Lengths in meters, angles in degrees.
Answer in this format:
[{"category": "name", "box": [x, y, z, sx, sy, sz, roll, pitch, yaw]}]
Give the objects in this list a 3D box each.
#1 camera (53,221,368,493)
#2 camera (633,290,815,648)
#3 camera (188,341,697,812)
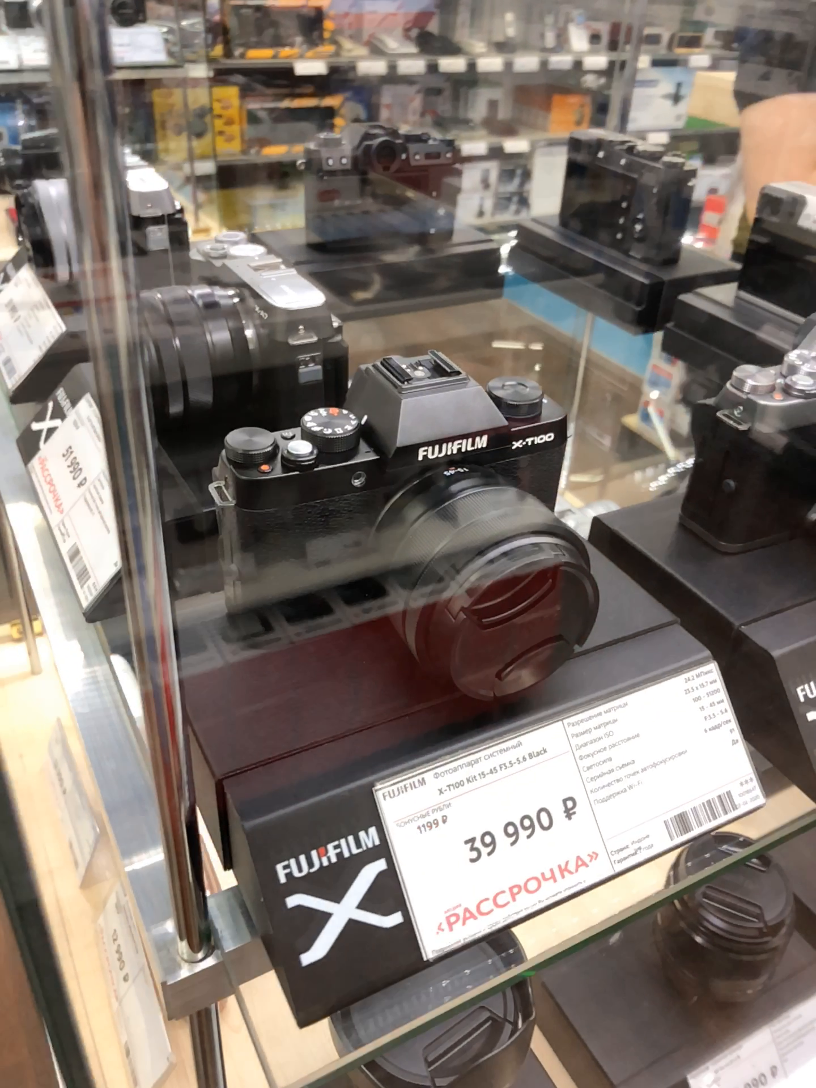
[{"category": "camera", "box": [-0.091, -0.092, 0.412, 0.100, 0.069, 0.120, -16, 38, -26]}, {"category": "camera", "box": [0.171, -0.036, 0.343, 0.120, 0.078, 0.099, -14, 37, -24]}, {"category": "camera", "box": [0.005, 0.002, 0.291, 0.120, 0.089, 0.095, -13, 37, -23]}]
